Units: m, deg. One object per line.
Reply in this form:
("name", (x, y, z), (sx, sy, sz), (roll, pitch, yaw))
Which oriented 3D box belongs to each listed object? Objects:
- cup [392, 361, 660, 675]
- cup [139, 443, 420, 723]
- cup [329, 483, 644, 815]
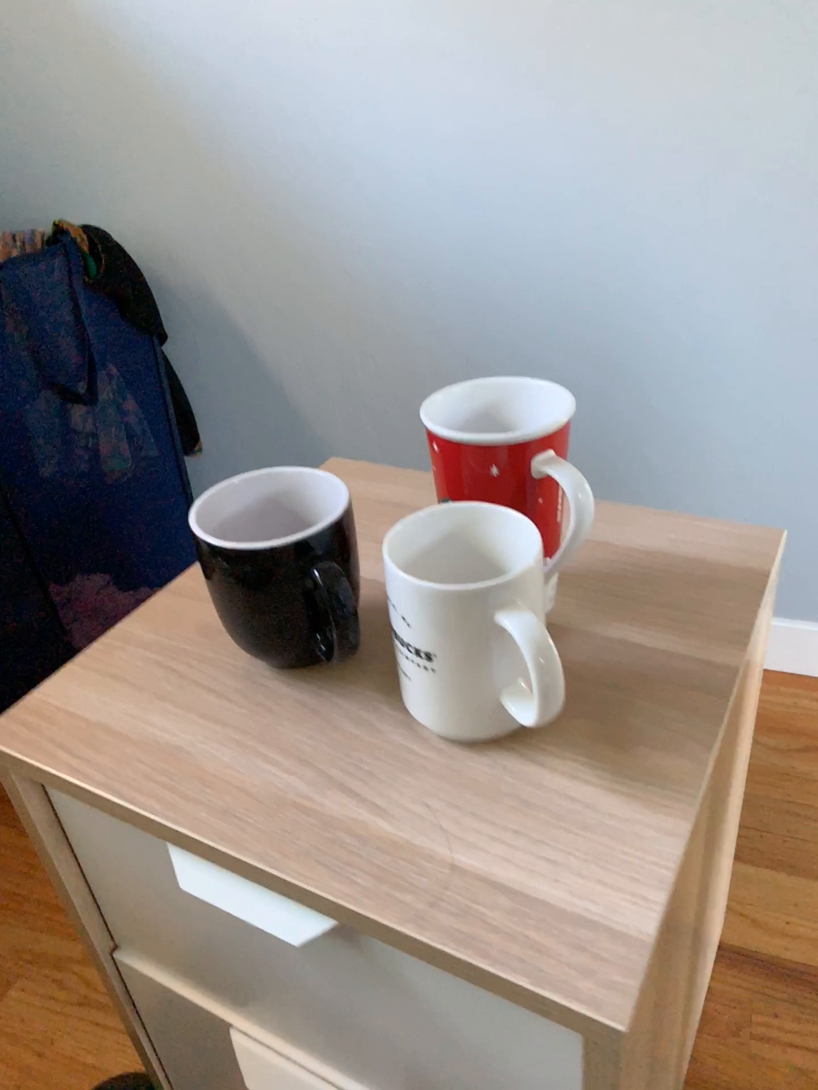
("cup", (0.073, -0.025, 0.556), (0.100, 0.139, 0.141), (-21, 34, -23))
("cup", (-0.079, 0.015, 0.512), (0.100, 0.090, 0.141), (-25, 36, -29))
("cup", (0.040, 0.049, 0.472), (0.100, 0.100, 0.141), (-24, 35, -27))
